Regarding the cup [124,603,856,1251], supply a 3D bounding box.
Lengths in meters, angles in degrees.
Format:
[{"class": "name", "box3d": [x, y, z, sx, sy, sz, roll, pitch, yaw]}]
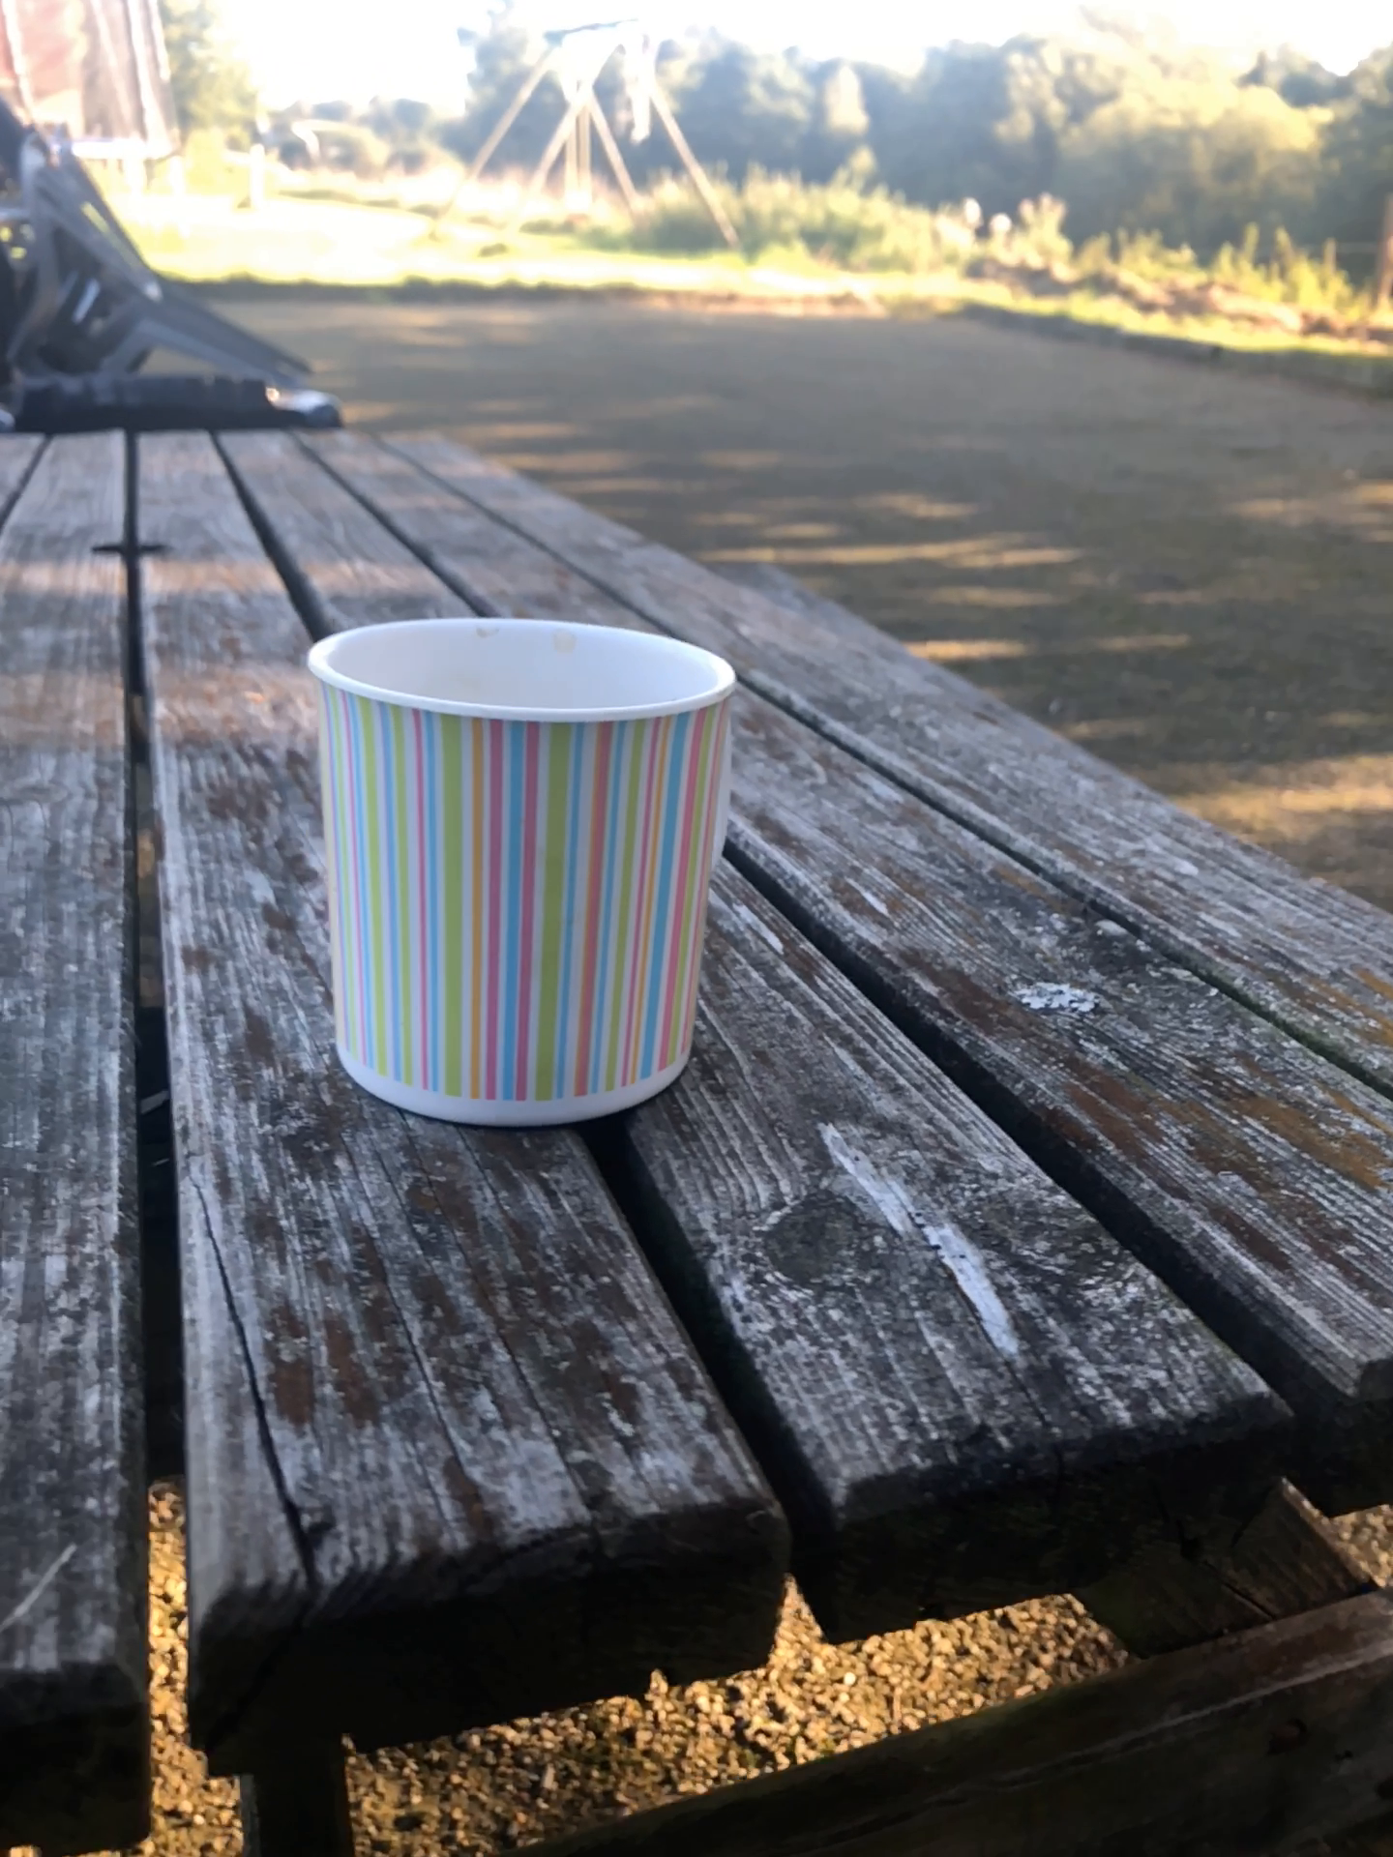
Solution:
[{"class": "cup", "box3d": [-0.045, -0.013, 0.365, 0.098, 0.096, 0.134, 21, 27, 31]}]
